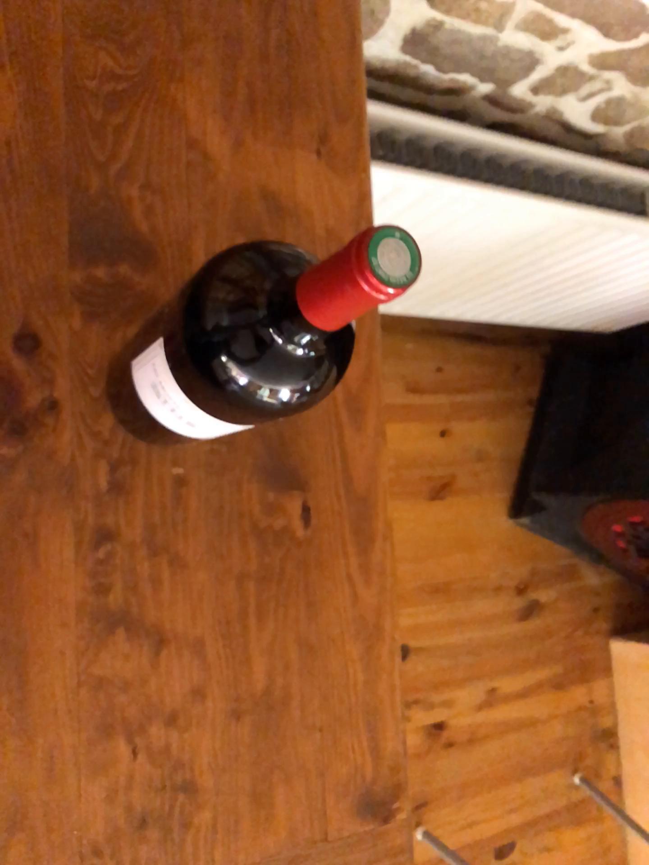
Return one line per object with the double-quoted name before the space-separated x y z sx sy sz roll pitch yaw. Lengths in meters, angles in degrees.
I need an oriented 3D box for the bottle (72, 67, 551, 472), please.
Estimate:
"bottle" -0.048 -0.055 0.424 0.100 0.348 0.100 3 83 -27
